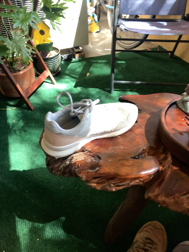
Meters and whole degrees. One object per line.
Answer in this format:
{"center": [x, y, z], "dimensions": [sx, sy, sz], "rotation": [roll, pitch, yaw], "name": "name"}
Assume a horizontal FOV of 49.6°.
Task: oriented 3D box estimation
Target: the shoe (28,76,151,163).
{"center": [-0.008, -0.024, 0.501], "dimensions": [0.264, 0.091, 0.103], "rotation": [-21, 46, -17], "name": "shoe"}
